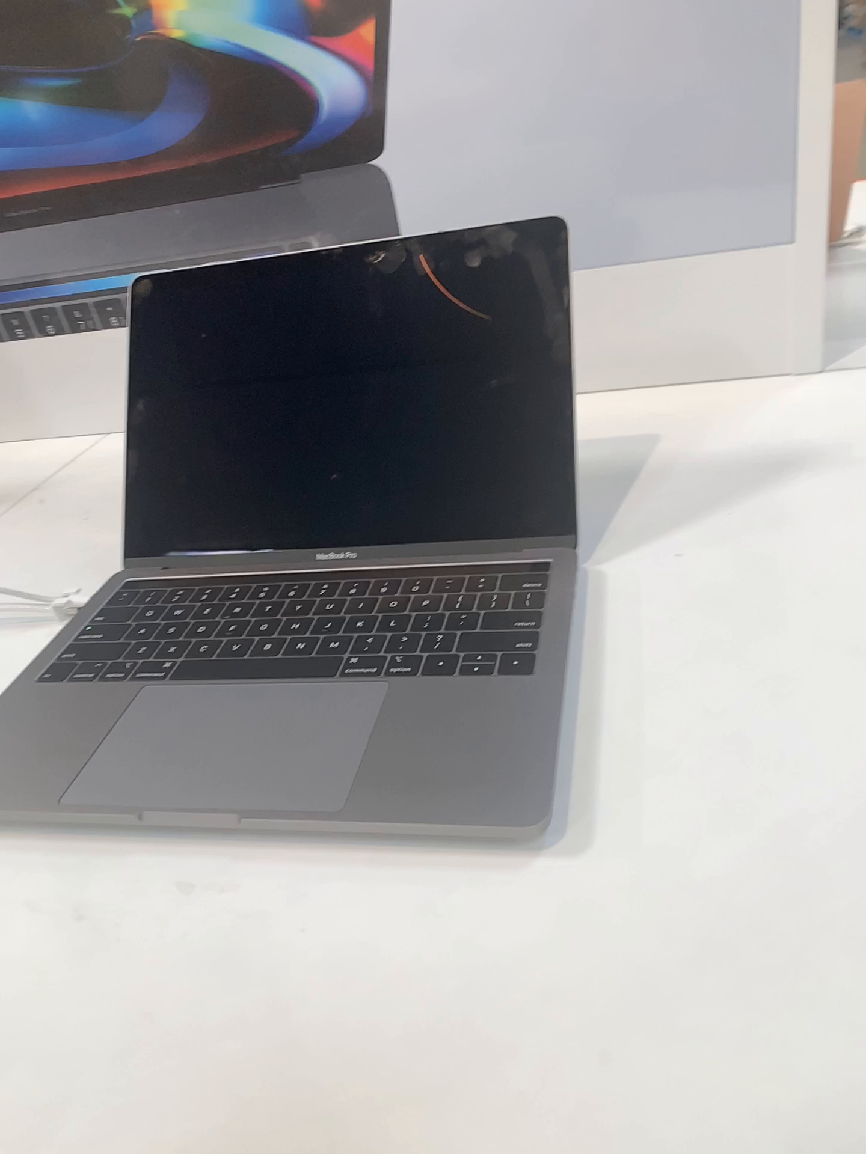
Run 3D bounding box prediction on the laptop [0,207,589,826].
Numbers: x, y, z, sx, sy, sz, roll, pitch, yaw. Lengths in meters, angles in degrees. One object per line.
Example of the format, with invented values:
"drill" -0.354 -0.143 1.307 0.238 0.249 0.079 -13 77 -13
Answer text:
"laptop" -0.079 -0.054 0.451 0.285 0.150 0.316 -3 32 15
